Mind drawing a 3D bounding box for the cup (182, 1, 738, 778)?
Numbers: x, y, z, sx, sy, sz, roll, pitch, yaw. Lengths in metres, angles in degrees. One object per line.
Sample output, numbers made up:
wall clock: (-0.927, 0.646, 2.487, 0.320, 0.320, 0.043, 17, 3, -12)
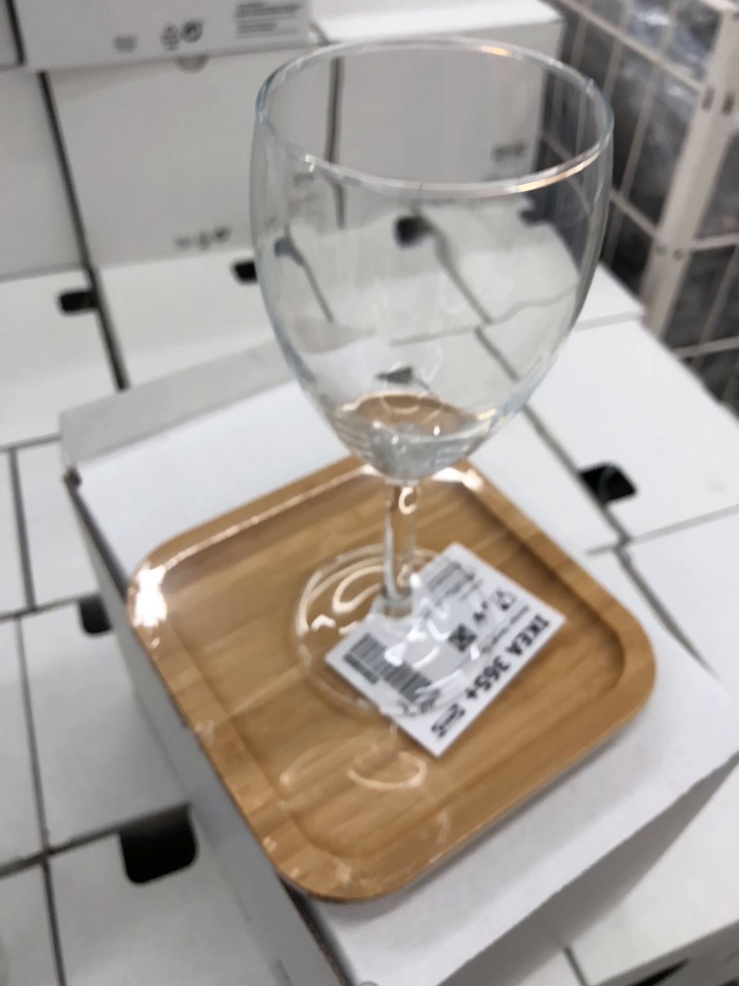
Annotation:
cup: (0.012, -0.014, 0.224, 0.080, 0.179, 0.080, 1, 47, -1)
